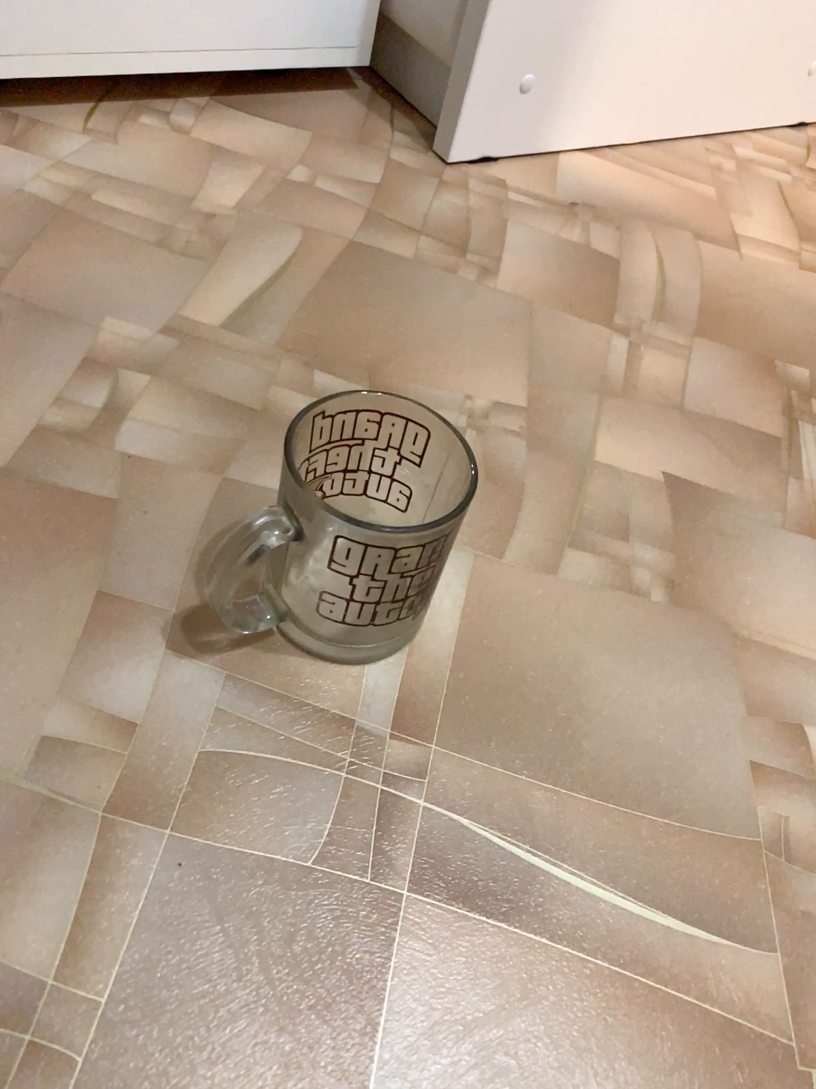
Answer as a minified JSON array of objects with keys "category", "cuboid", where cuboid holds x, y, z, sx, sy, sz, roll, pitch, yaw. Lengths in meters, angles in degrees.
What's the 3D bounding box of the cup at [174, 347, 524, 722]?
[{"category":"cup","cuboid":[-0.030,-0.005,0.334,0.098,0.097,0.082,-21,59,-29]}]
